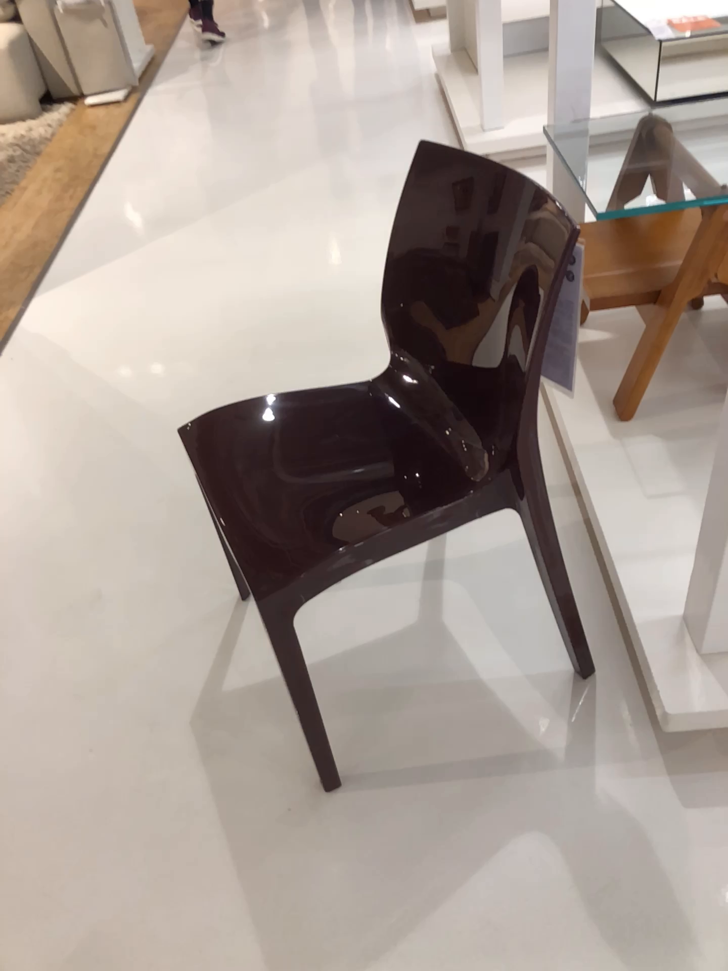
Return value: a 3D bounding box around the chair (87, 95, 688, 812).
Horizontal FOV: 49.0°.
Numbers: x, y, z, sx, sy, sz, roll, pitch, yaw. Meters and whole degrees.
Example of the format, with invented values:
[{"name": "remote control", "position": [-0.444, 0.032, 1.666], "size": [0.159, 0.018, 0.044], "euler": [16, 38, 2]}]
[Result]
[{"name": "chair", "position": [0.036, -0.043, 1.238], "size": [0.561, 0.814, 0.533], "euler": [-22, 43, -13]}]
